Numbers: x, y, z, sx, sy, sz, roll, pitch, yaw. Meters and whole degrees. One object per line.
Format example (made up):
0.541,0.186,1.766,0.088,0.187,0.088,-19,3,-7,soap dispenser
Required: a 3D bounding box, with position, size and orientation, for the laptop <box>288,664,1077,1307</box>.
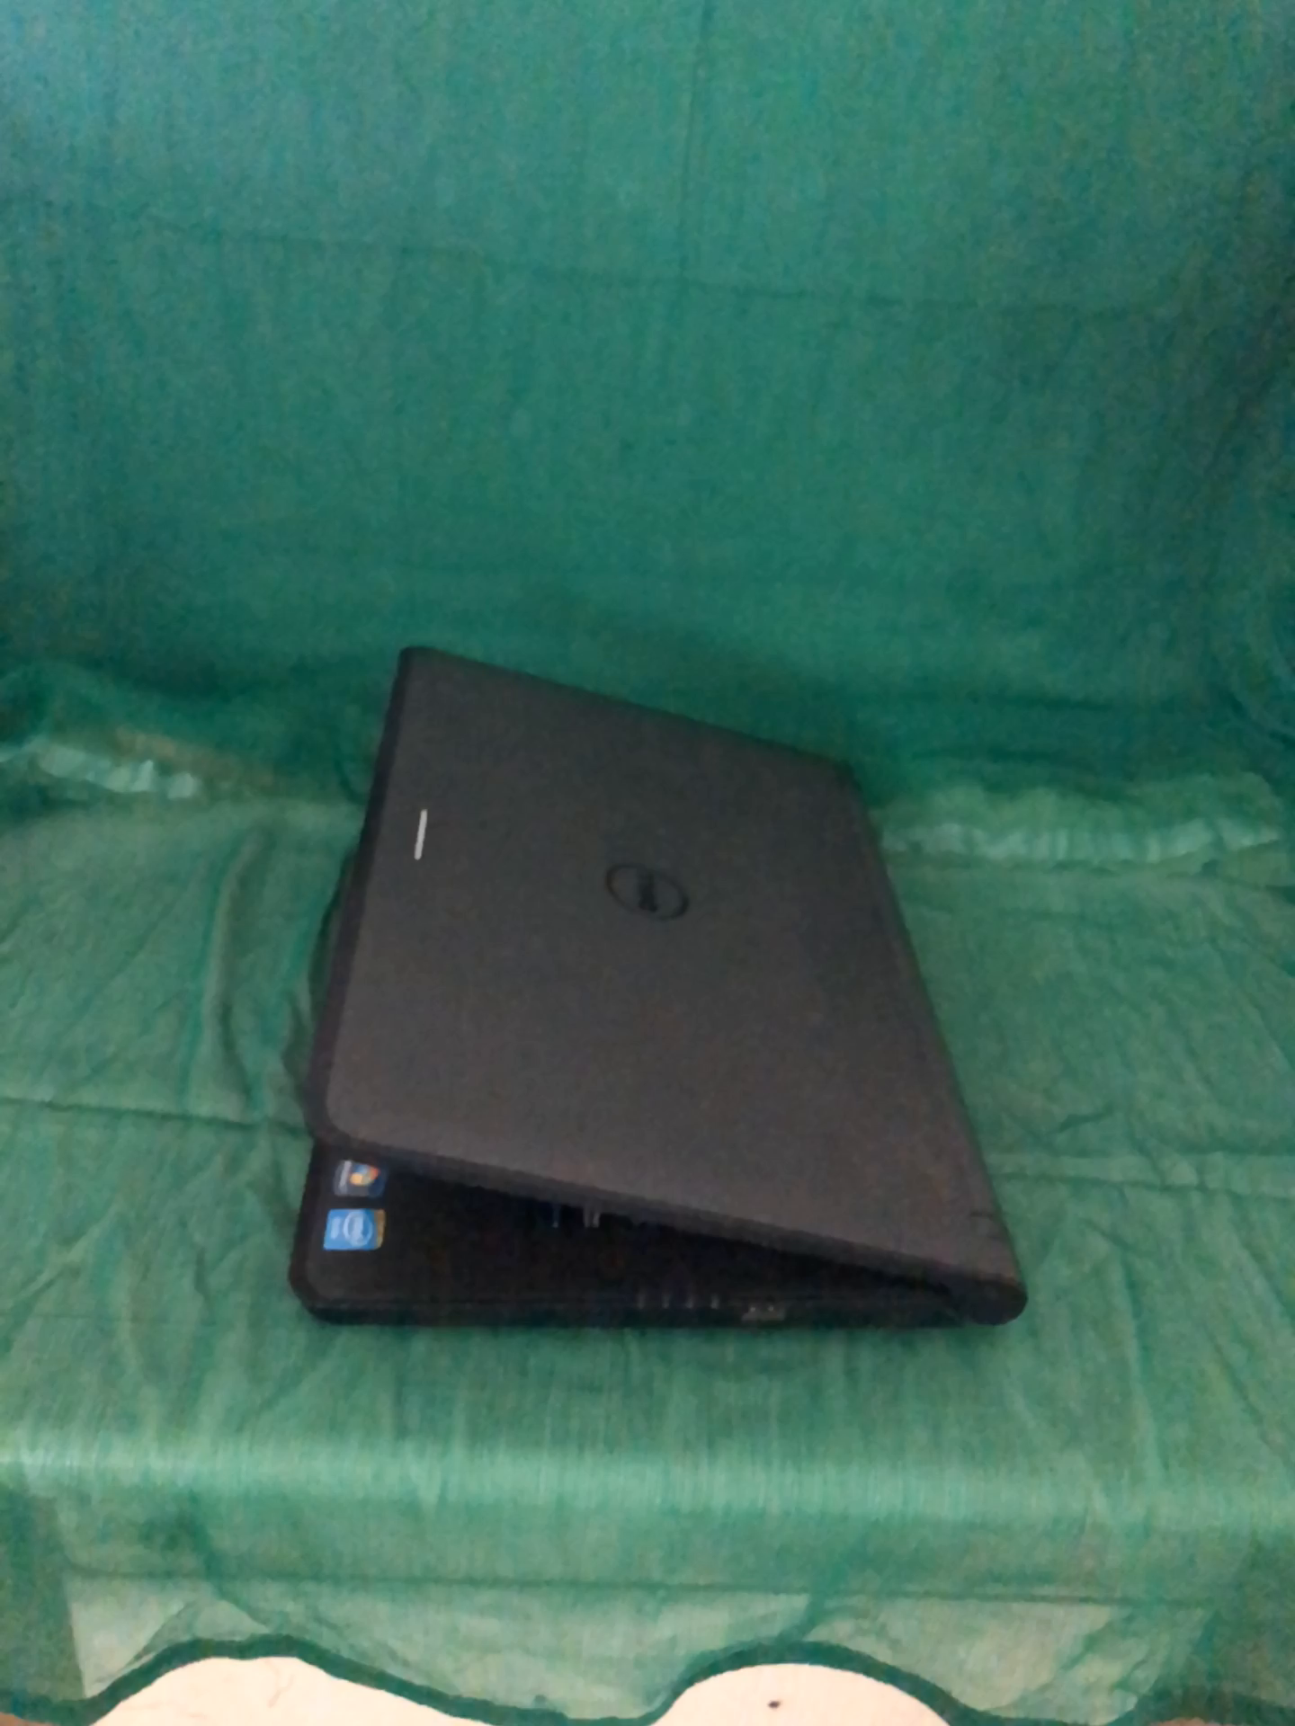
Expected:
0.001,0.025,0.558,0.229,0.064,0.307,3,33,-6,laptop
